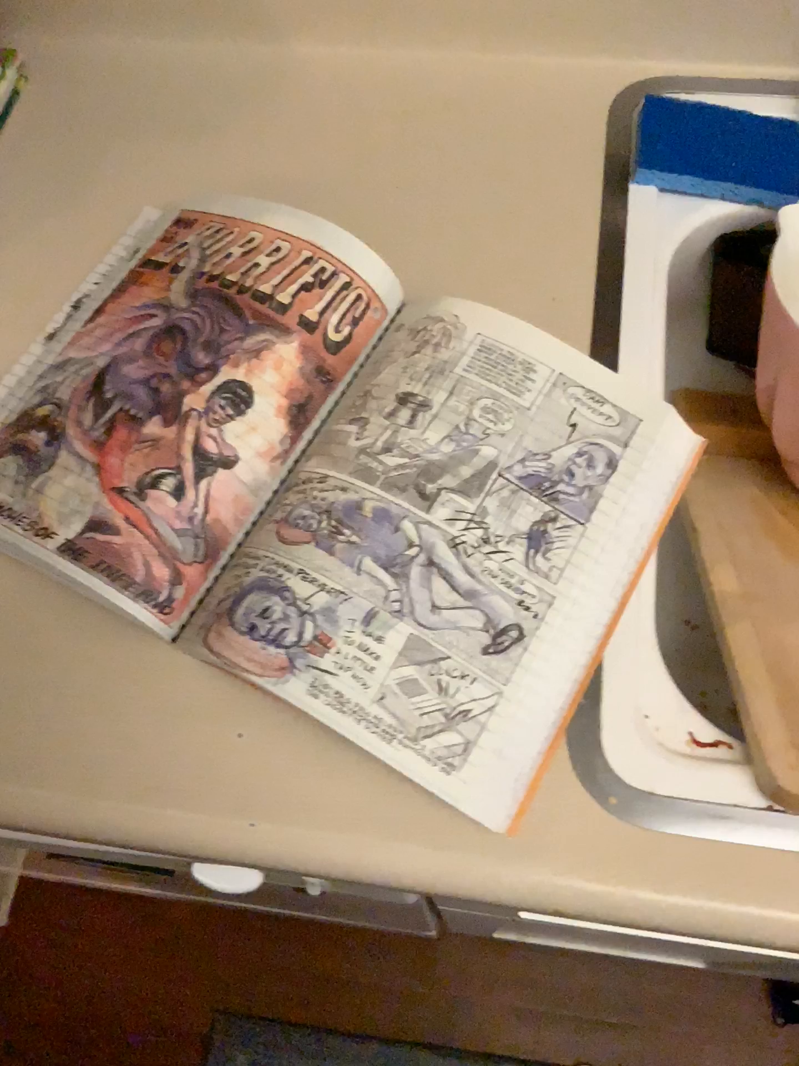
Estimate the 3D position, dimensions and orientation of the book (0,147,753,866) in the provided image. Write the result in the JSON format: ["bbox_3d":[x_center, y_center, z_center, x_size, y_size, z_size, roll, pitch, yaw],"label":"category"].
[{"bbox_3d":[-0.059,-0.049,0.519,0.430,0.050,0.280,25,68,15],"label":"book"}]
